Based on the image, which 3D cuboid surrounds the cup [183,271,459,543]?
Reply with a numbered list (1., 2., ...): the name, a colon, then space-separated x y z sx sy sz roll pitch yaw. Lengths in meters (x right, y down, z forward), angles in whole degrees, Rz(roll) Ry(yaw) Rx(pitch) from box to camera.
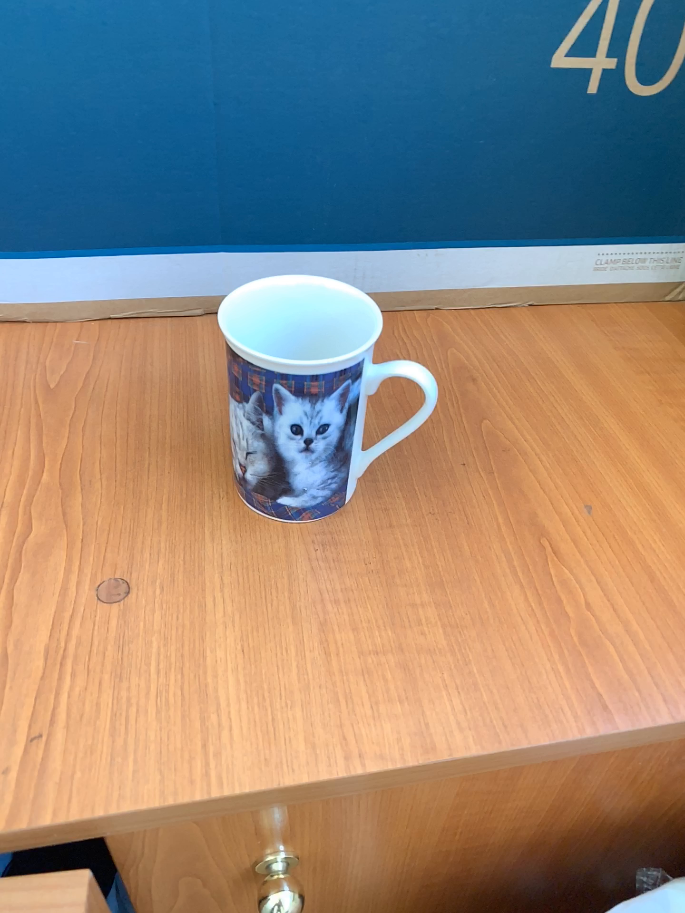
1. cup: -0.011 -0.023 0.343 0.110 0.100 0.080 2 41 -2
